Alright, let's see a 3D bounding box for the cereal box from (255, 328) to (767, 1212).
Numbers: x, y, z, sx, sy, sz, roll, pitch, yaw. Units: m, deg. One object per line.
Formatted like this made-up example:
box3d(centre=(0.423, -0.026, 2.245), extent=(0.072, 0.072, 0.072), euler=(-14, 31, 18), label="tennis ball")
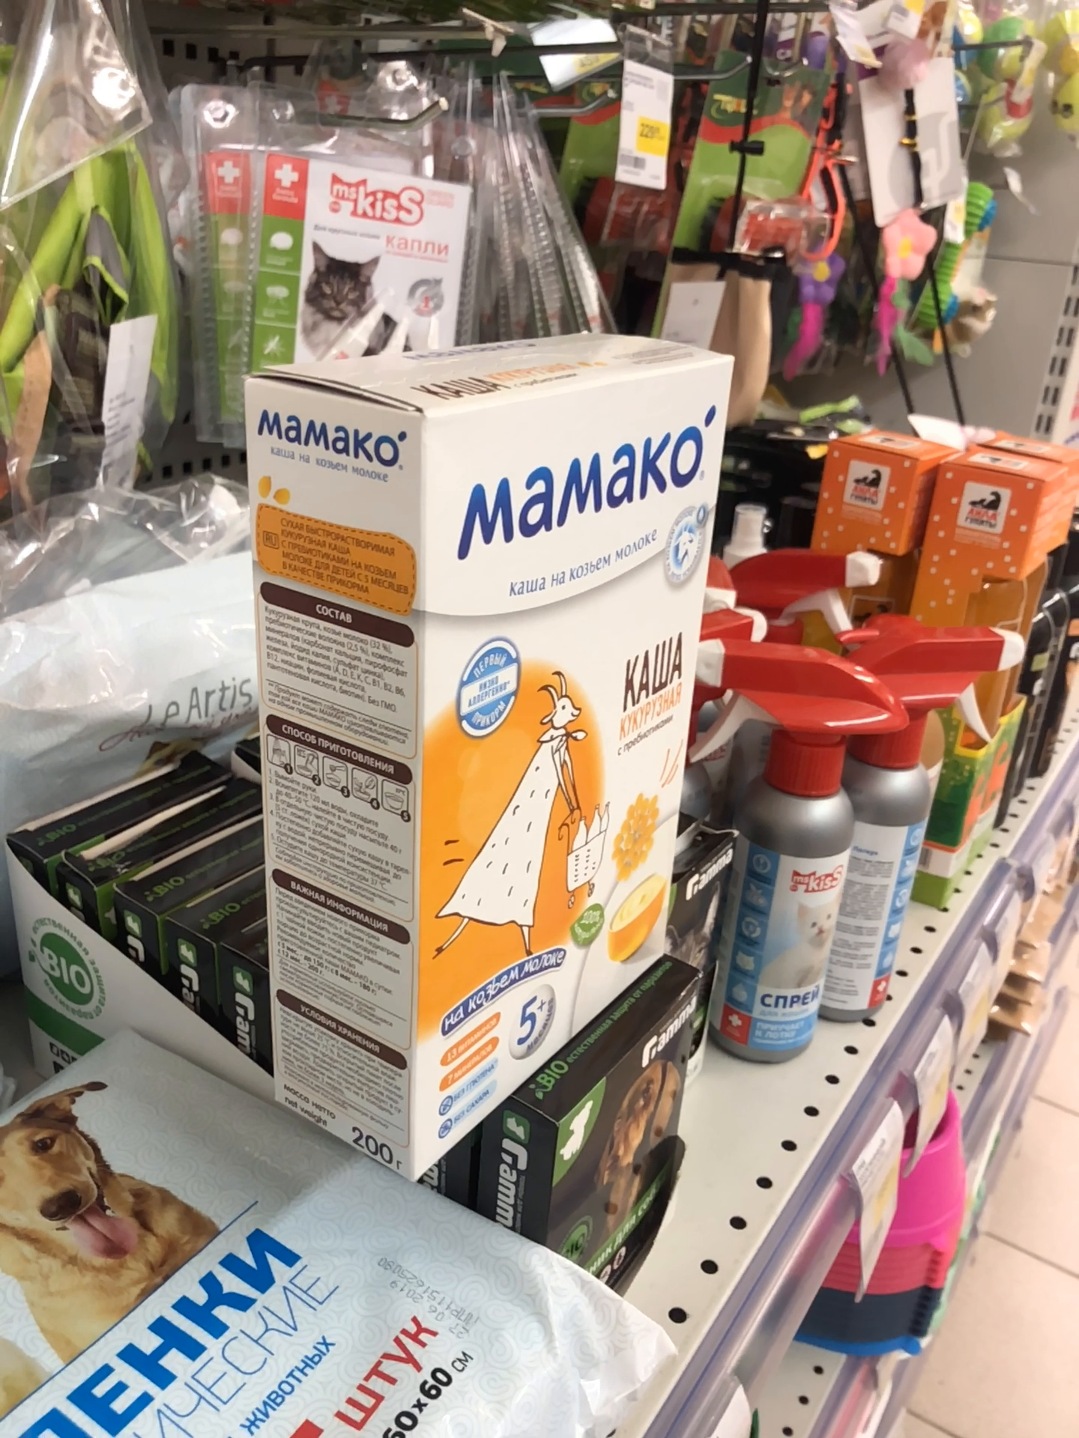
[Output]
box3d(centre=(-0.004, 0.004, 0.325), extent=(0.050, 0.199, 0.141), euler=(18, 27, 30), label="cereal box")
